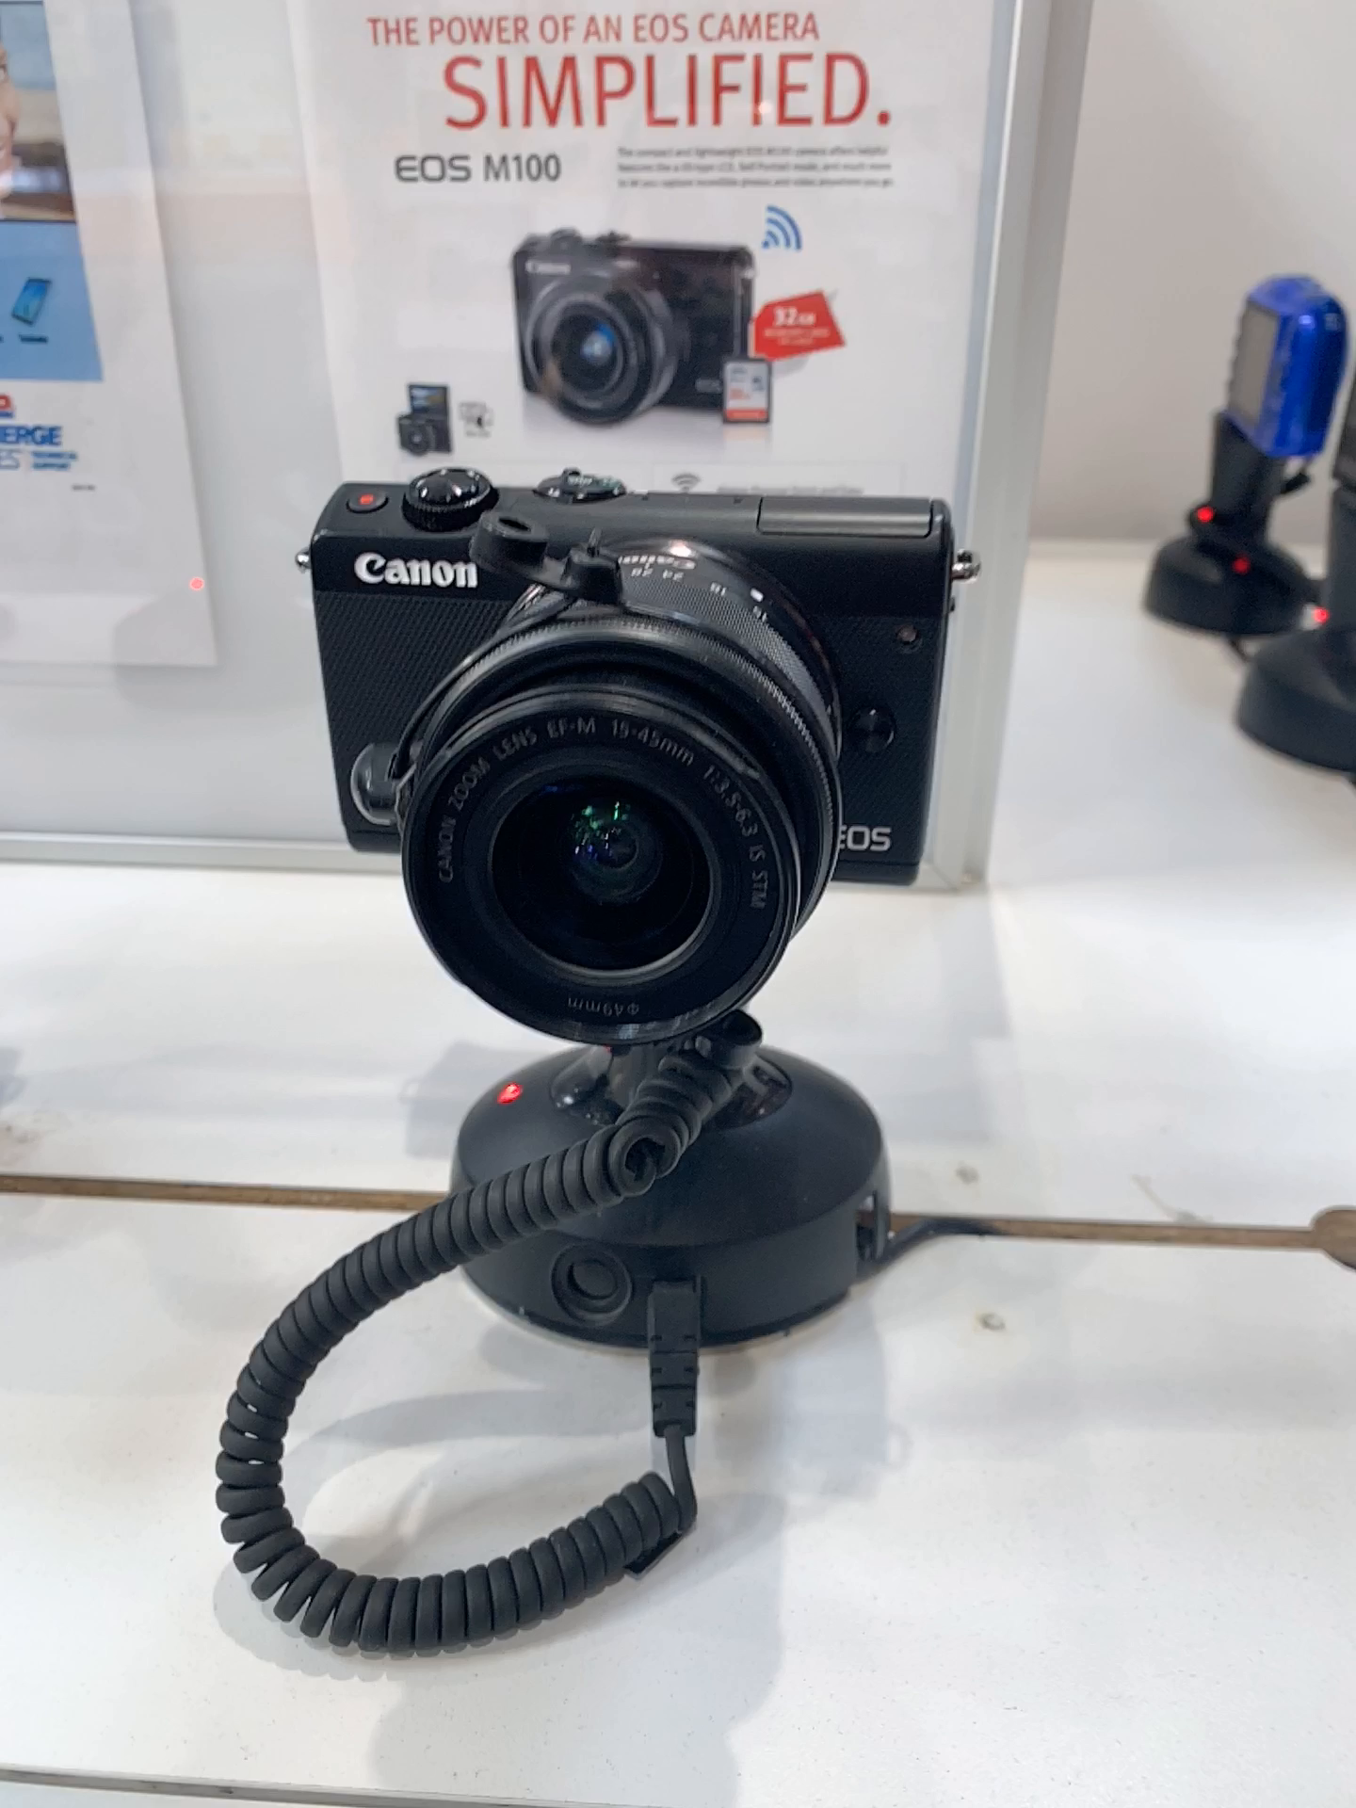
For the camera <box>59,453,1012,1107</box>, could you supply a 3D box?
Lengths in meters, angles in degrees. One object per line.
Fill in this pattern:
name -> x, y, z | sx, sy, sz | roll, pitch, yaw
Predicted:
camera -> -0.012, -0.027, 0.215 | 0.110, 0.066, 0.093 | 4, 24, 7
